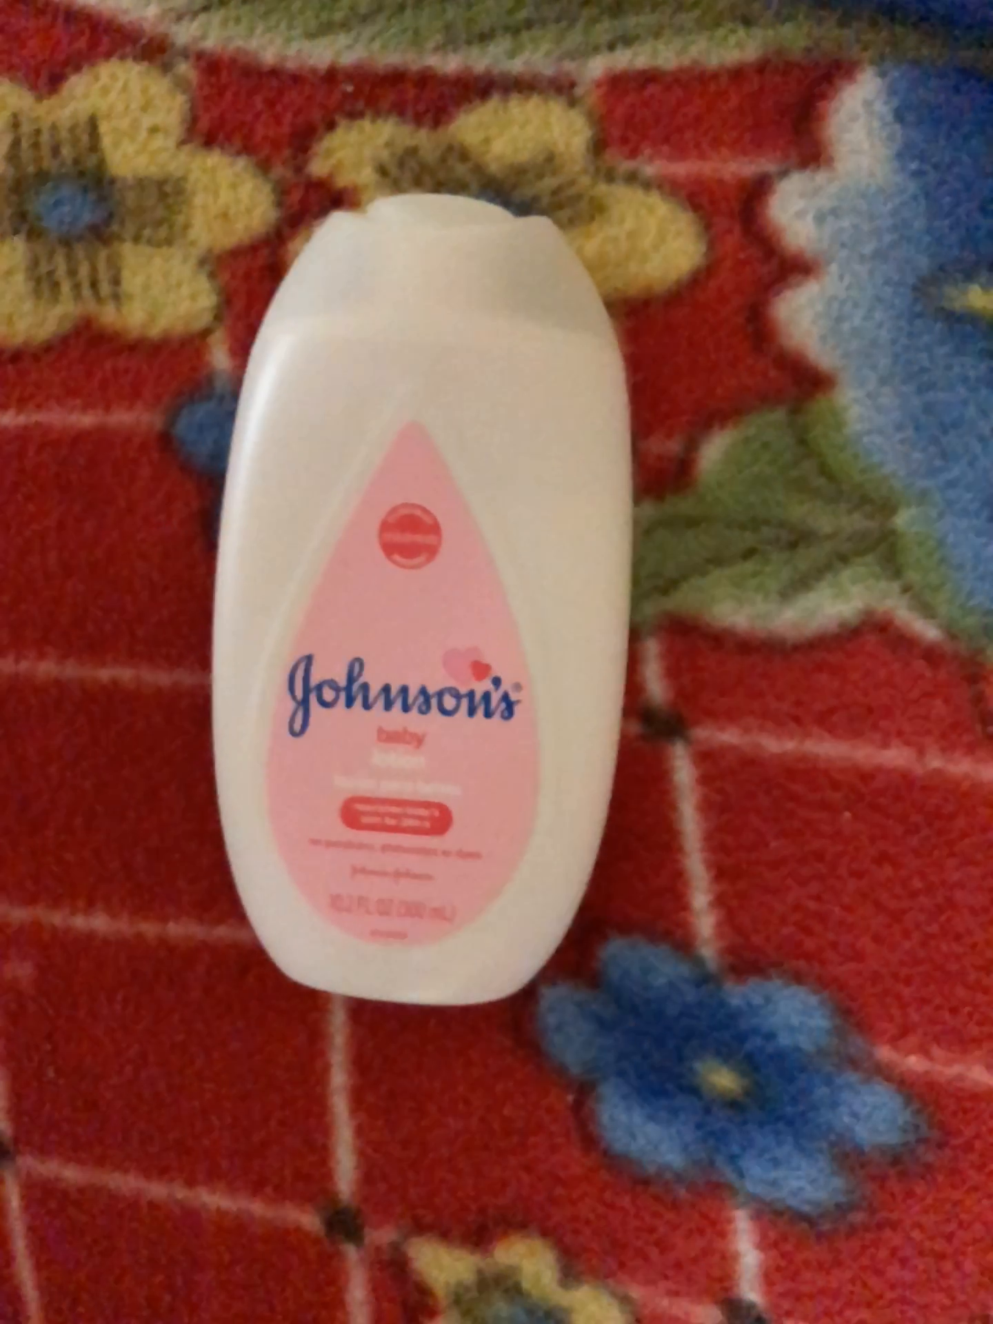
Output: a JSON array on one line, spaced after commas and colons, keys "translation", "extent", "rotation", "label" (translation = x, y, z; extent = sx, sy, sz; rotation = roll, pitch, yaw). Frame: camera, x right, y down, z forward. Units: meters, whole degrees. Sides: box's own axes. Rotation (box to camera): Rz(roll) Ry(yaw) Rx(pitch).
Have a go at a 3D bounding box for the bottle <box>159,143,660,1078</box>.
[{"translation": [-0.015, -0.013, 0.224], "extent": [0.080, 0.030, 0.170], "rotation": [5, 88, 11], "label": "bottle"}]
